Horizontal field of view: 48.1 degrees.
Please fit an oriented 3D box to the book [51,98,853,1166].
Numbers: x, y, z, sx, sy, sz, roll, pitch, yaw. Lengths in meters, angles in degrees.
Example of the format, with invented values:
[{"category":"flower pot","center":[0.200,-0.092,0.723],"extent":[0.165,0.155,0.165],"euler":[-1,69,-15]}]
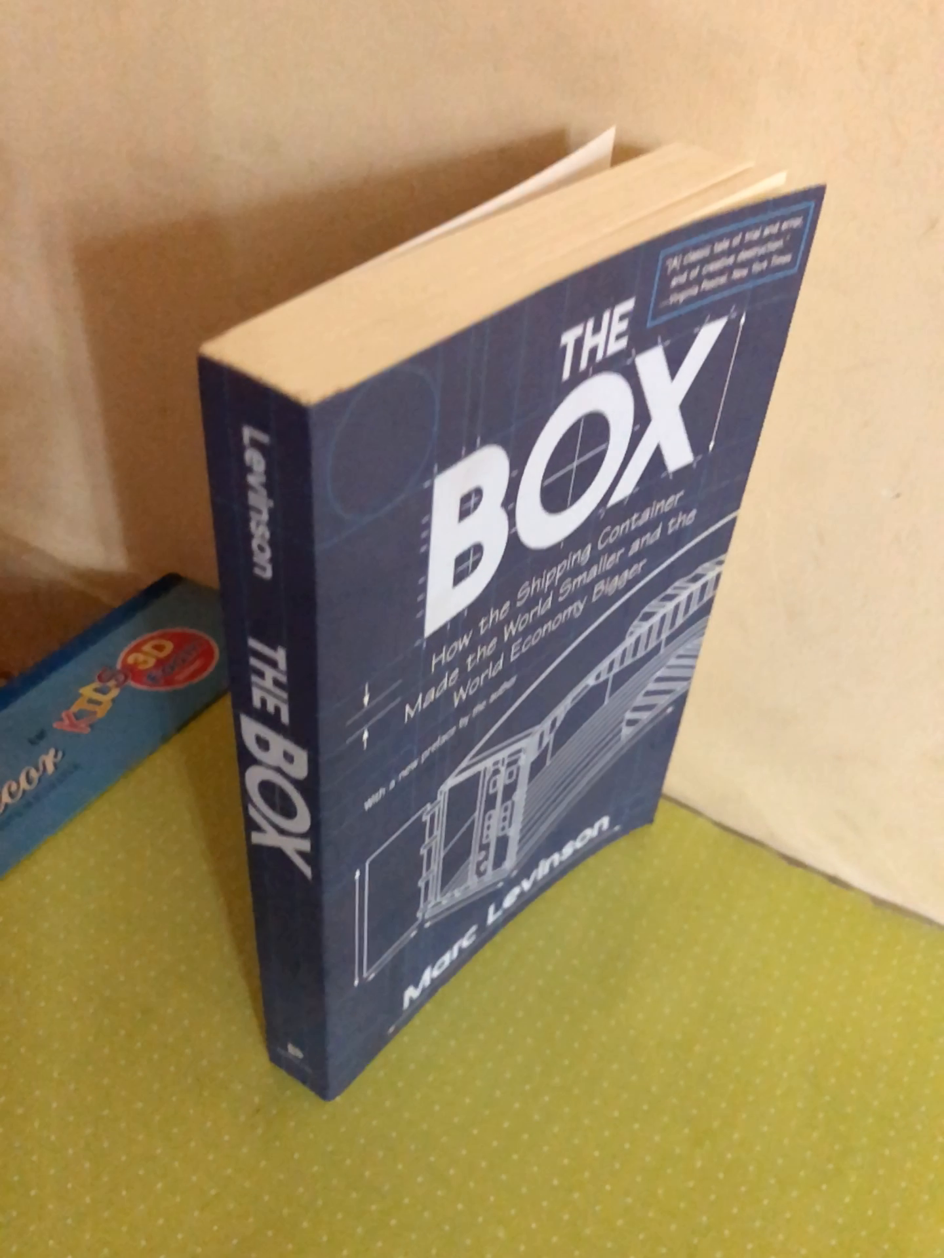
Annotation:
[{"category":"book","center":[0.004,0.002,0.271],"extent":[0.050,0.219,0.181],"euler":[30,46,25]}]
